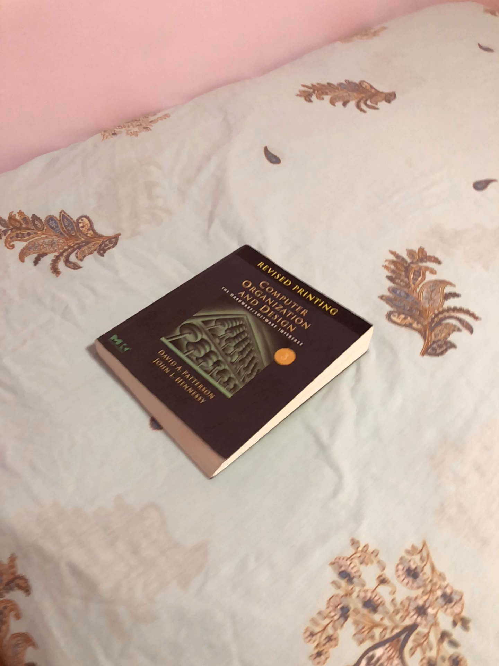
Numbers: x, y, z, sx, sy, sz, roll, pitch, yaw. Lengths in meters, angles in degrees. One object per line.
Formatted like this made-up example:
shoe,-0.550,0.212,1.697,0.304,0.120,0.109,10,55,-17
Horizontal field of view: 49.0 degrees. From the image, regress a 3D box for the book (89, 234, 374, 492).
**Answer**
book,-0.018,0.017,0.608,0.201,0.073,0.226,38,59,26
